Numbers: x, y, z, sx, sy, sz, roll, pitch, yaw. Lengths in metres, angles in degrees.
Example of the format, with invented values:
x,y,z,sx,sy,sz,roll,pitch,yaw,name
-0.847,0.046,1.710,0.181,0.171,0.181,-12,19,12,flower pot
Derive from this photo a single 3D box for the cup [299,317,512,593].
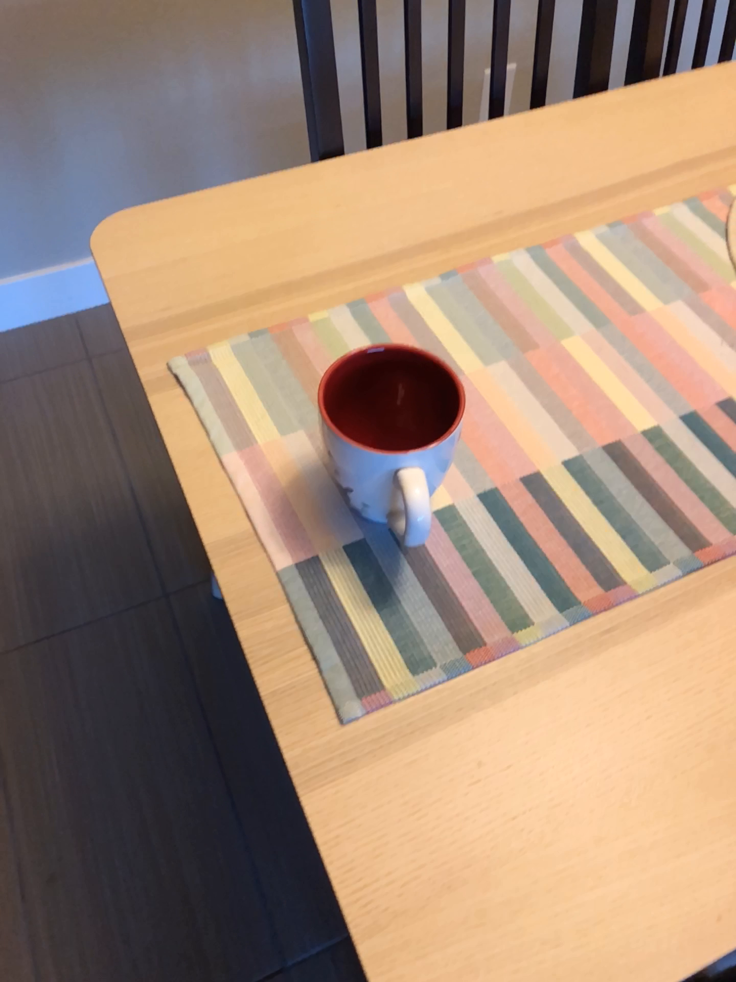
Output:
x,y,z,sx,sy,sz,roll,pitch,yaw,name
0.018,-0.025,0.525,0.100,0.090,0.140,-8,54,-7,cup
